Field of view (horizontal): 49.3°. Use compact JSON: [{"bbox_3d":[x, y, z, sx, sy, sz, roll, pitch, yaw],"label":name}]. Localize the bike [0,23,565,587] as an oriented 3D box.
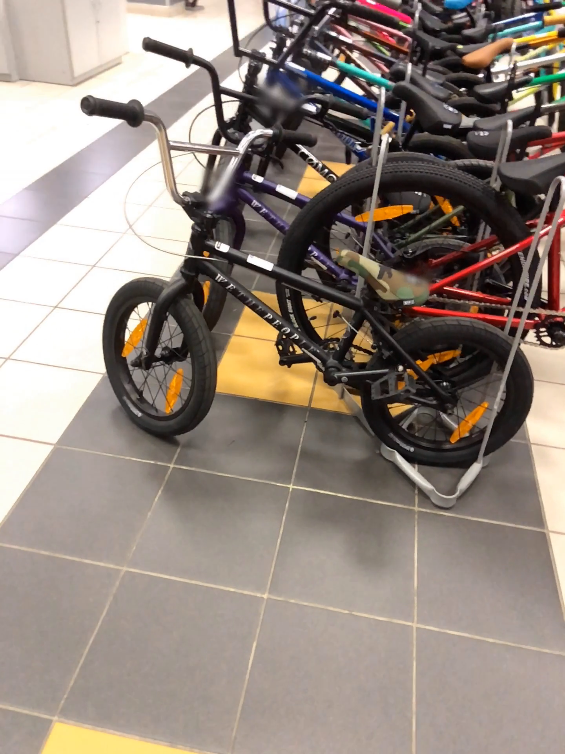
[{"bbox_3d":[0.075,-0.210,1.378,1.071,0.810,0.680,13,36,8],"label":"bike"}]
